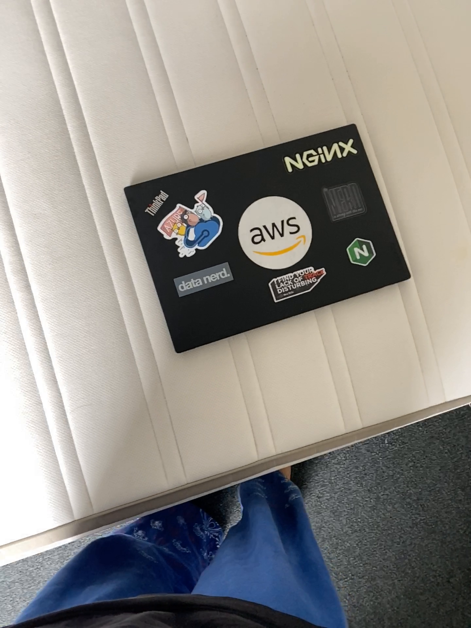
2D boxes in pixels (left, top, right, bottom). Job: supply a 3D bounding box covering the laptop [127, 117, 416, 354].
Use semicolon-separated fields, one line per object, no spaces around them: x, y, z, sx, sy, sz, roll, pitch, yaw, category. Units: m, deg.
0.045;-0.107;0.620;0.322;0.014;0.224;-17;82;-5;laptop
